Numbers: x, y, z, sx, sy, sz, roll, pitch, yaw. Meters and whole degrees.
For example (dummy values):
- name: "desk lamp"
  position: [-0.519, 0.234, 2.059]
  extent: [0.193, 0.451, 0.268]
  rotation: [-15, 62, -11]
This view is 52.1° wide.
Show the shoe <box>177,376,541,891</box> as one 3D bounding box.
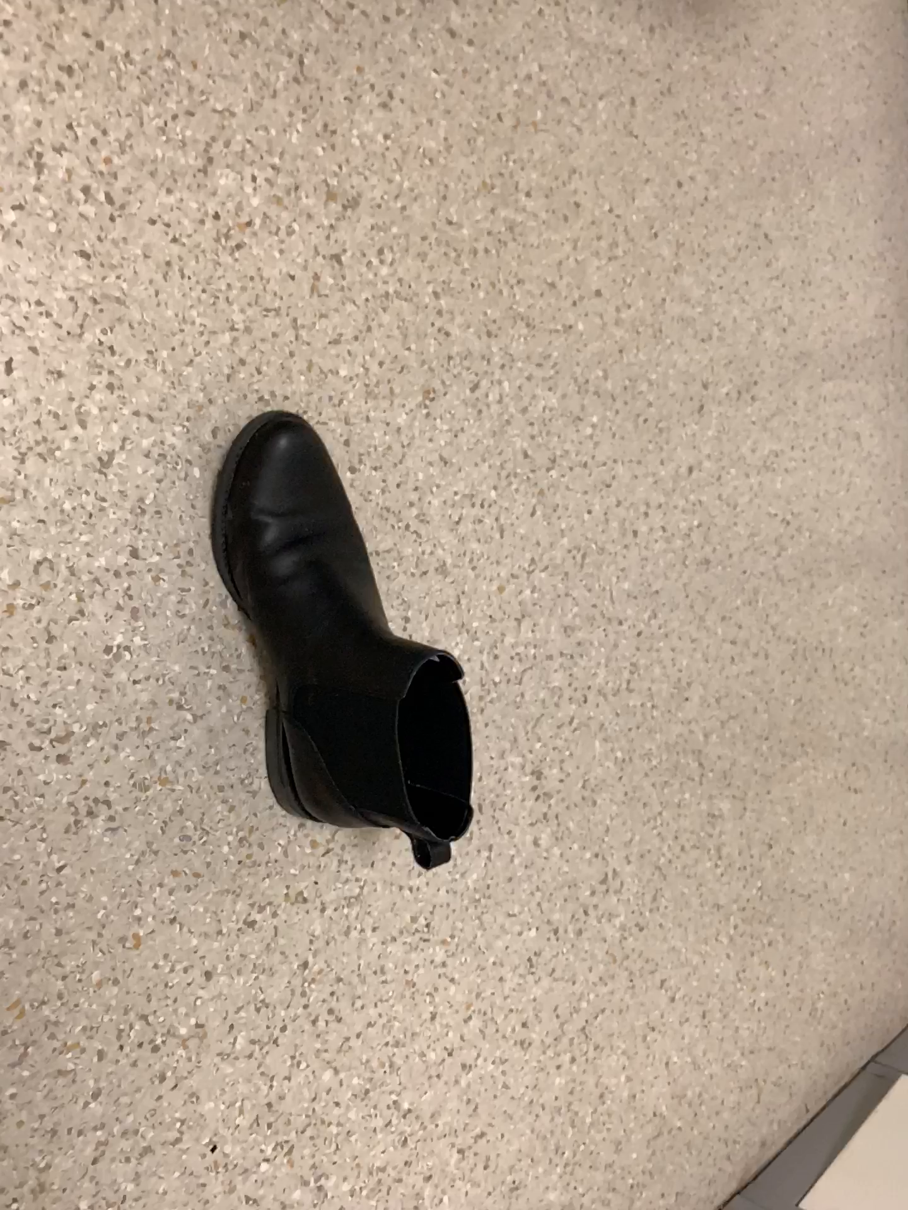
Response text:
- name: "shoe"
  position: [-0.059, 0.013, 0.576]
  extent: [0.108, 0.147, 0.270]
  rotation: [-18, 100, -40]
